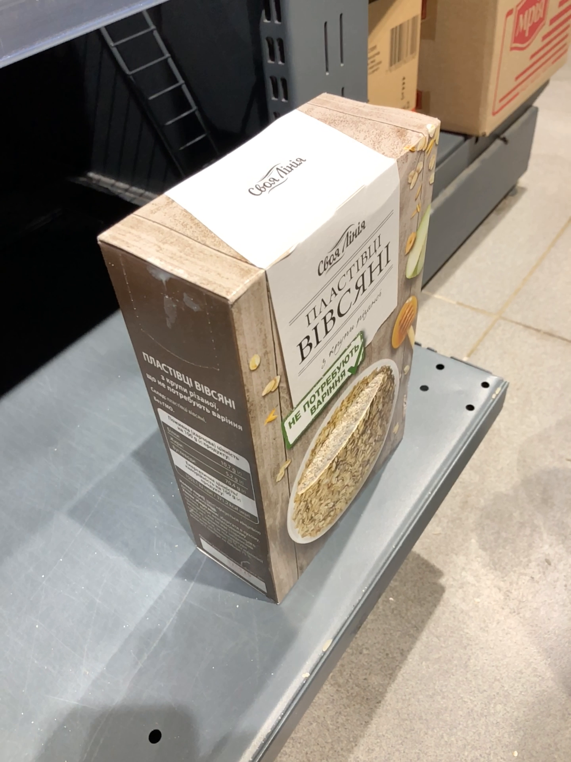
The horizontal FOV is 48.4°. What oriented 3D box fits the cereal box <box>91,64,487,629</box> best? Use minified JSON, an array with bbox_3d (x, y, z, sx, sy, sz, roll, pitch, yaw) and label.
[{"bbox_3d":[0.015,-0.006,0.315,0.070,0.228,0.151,27,53,26],"label":"cereal box"}]
